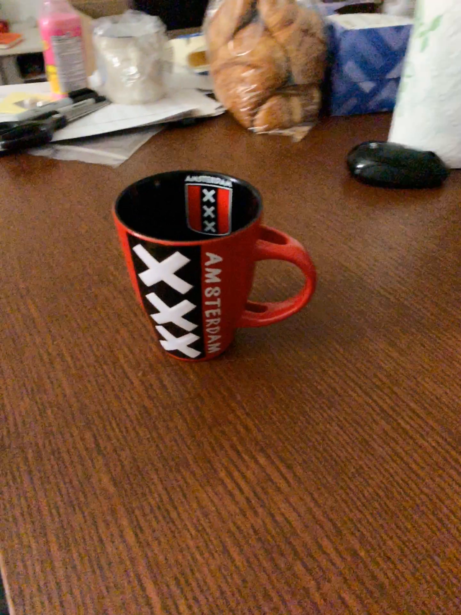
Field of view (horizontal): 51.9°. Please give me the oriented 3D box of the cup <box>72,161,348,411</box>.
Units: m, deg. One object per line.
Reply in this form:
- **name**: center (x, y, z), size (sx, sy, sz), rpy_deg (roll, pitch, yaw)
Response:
- **cup**: center (-0.005, -0.017, 0.289), size (0.130, 0.099, 0.090), rpy_deg (9, 41, 11)
